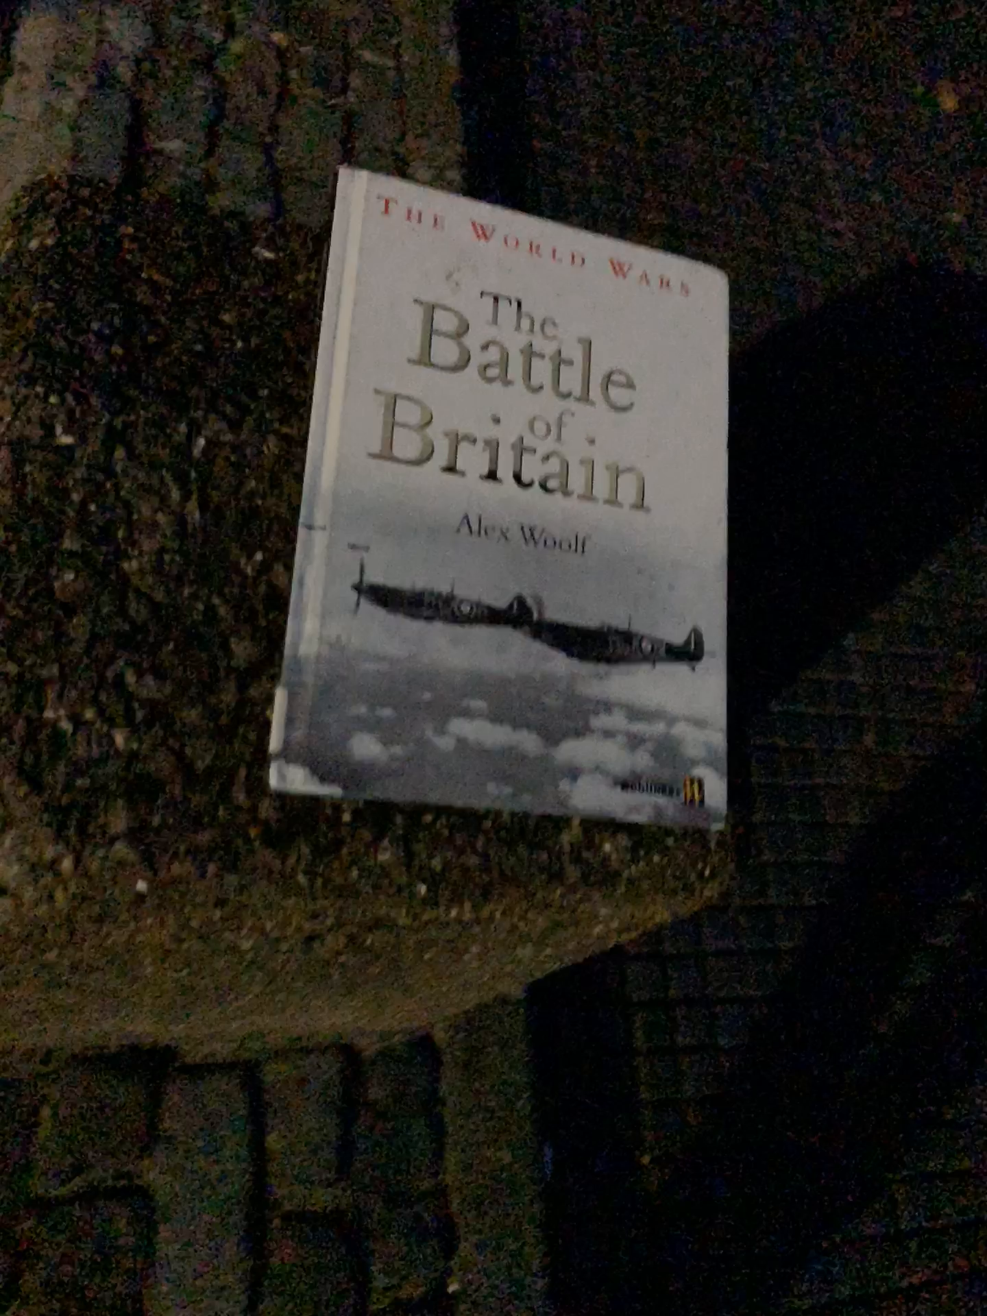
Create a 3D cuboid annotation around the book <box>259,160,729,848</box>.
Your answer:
[{"bbox_3d":[0.012,-0.058,0.389,0.170,0.020,0.245,9,74,-18],"label":"book"}]
